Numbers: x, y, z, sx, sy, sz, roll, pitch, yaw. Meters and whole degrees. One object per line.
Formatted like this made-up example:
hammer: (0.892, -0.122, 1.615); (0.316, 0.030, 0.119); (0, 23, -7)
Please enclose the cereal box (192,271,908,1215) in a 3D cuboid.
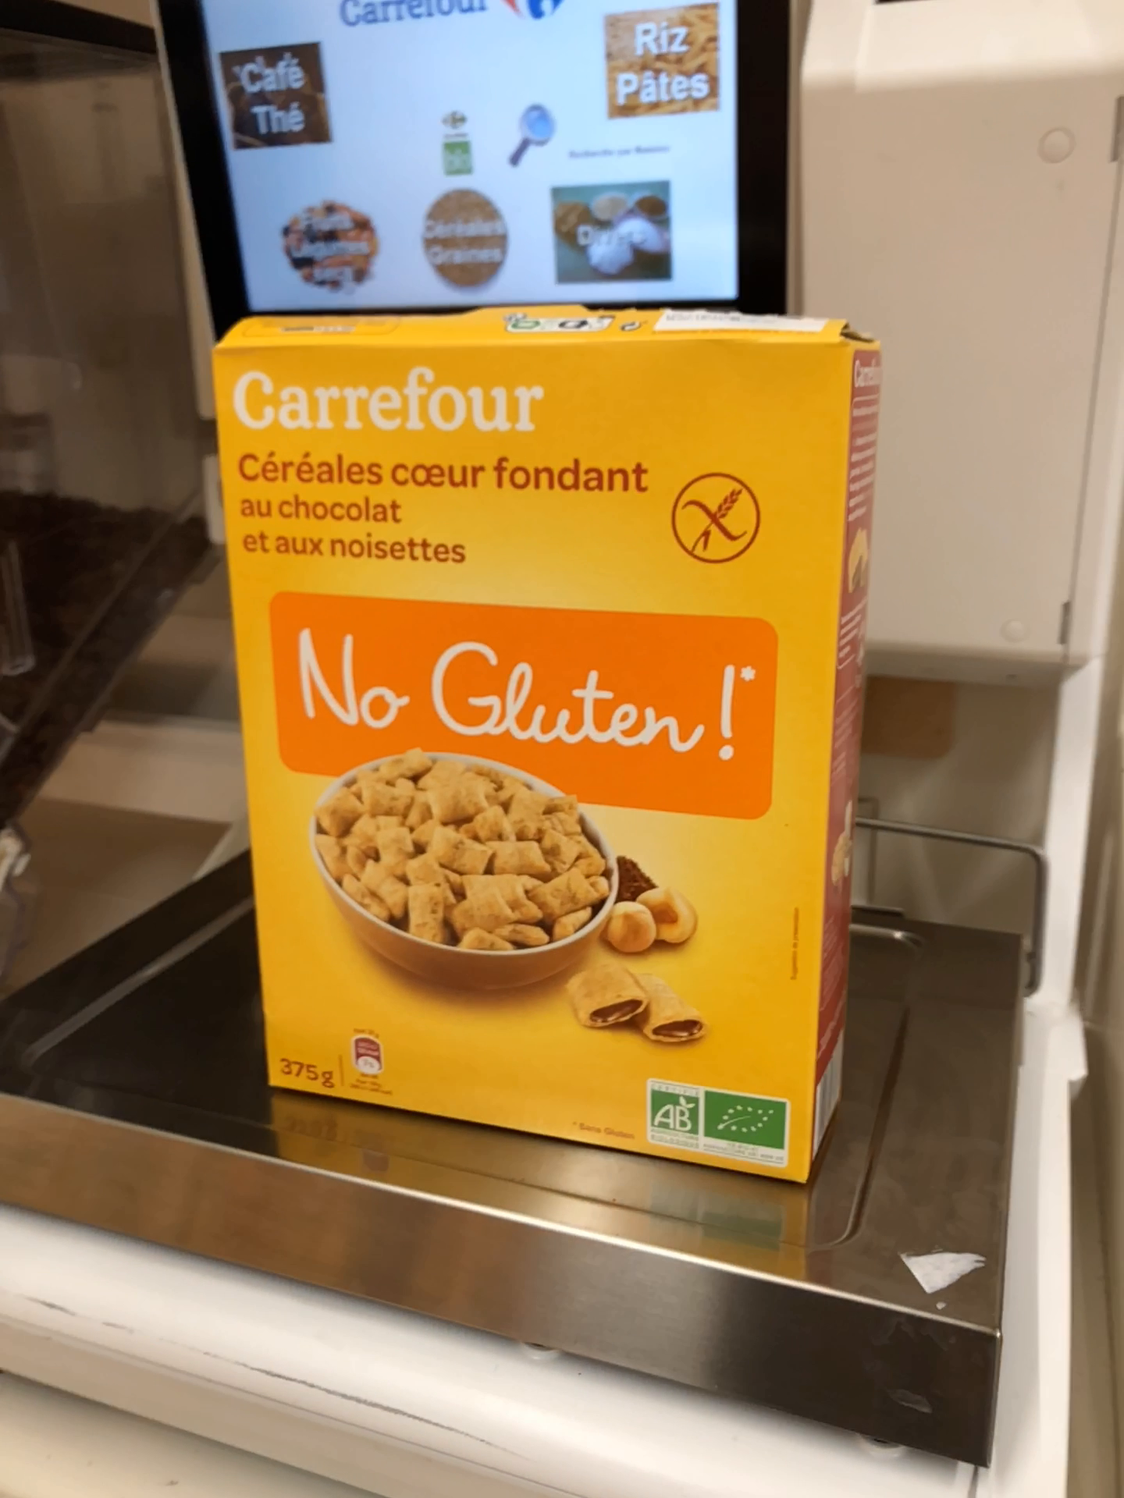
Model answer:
cereal box: (-0.005, -0.005, 0.401); (0.200, 0.269, 0.060); (6, 17, 18)
